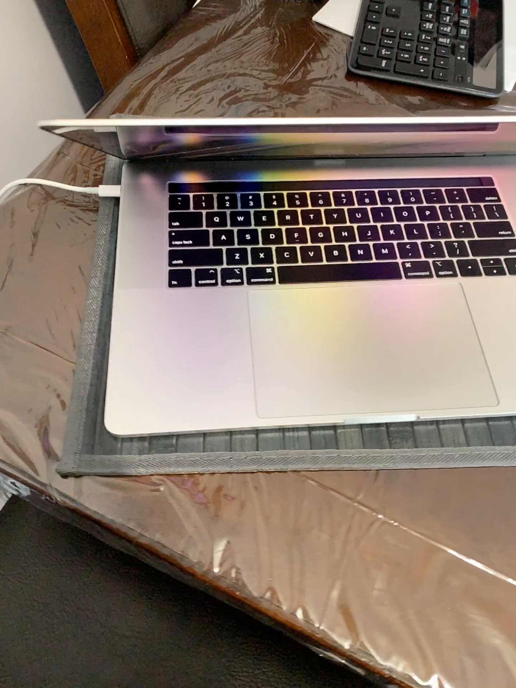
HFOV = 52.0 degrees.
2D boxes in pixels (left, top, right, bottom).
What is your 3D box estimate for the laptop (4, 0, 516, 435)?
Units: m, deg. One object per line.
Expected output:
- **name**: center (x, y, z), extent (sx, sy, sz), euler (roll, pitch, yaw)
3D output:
- **laptop**: center (0.072, -0.094, 0.321), extent (0.342, 0.166, 0.233), euler (-2, 61, -4)
